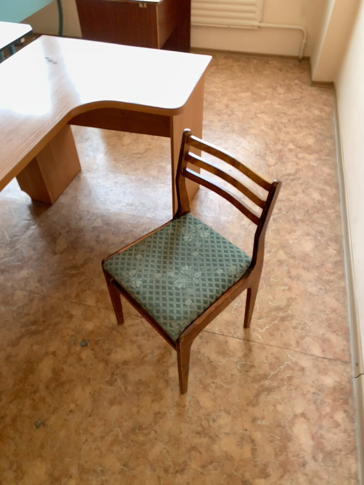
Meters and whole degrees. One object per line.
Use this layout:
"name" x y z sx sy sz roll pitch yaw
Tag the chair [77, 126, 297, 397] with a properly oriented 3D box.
"chair" 0.011 0.087 1.203 0.403 0.704 0.402 -35 56 -28
